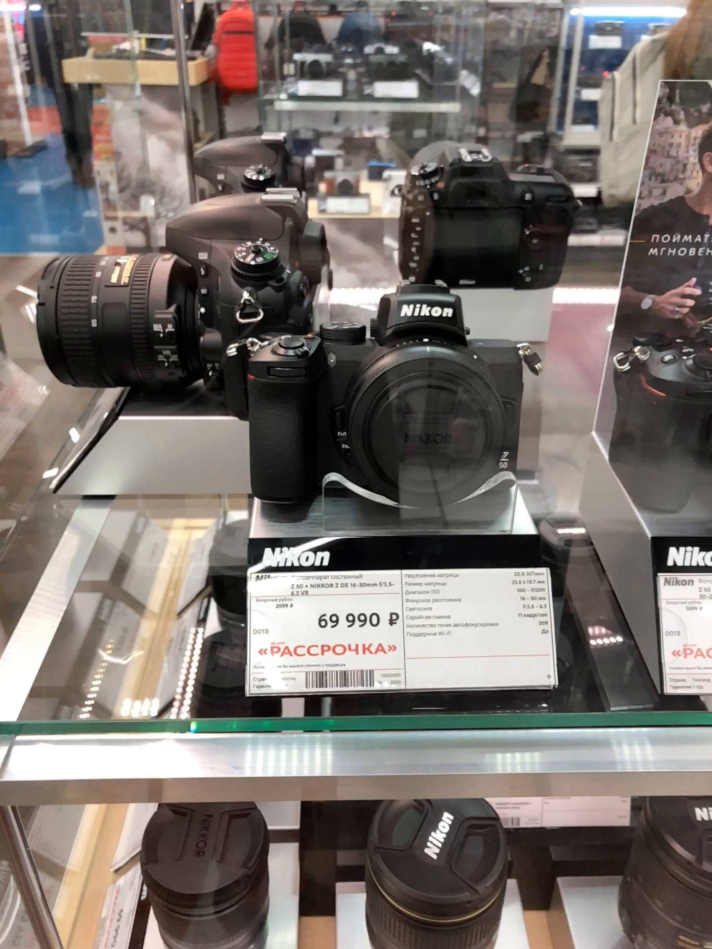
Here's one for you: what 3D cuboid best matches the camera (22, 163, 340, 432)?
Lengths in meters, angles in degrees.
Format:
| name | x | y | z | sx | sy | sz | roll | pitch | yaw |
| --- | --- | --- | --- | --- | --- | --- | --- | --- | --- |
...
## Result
| name | x | y | z | sx | sy | sz | roll | pitch | yaw |
| --- | --- | --- | --- | --- | --- | --- | --- | --- | --- |
| camera | -0.090 | -0.110 | 0.470 | 0.150 | 0.111 | 0.130 | 4 | 31 | 0 |

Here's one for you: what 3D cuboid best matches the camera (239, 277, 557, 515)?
| name | x | y | z | sx | sy | sz | roll | pitch | yaw |
| --- | --- | --- | --- | --- | --- | --- | --- | --- | --- |
| camera | 0.016 | -0.041 | 0.370 | 0.126 | 0.092 | 0.090 | 0 | 19 | -1 |
